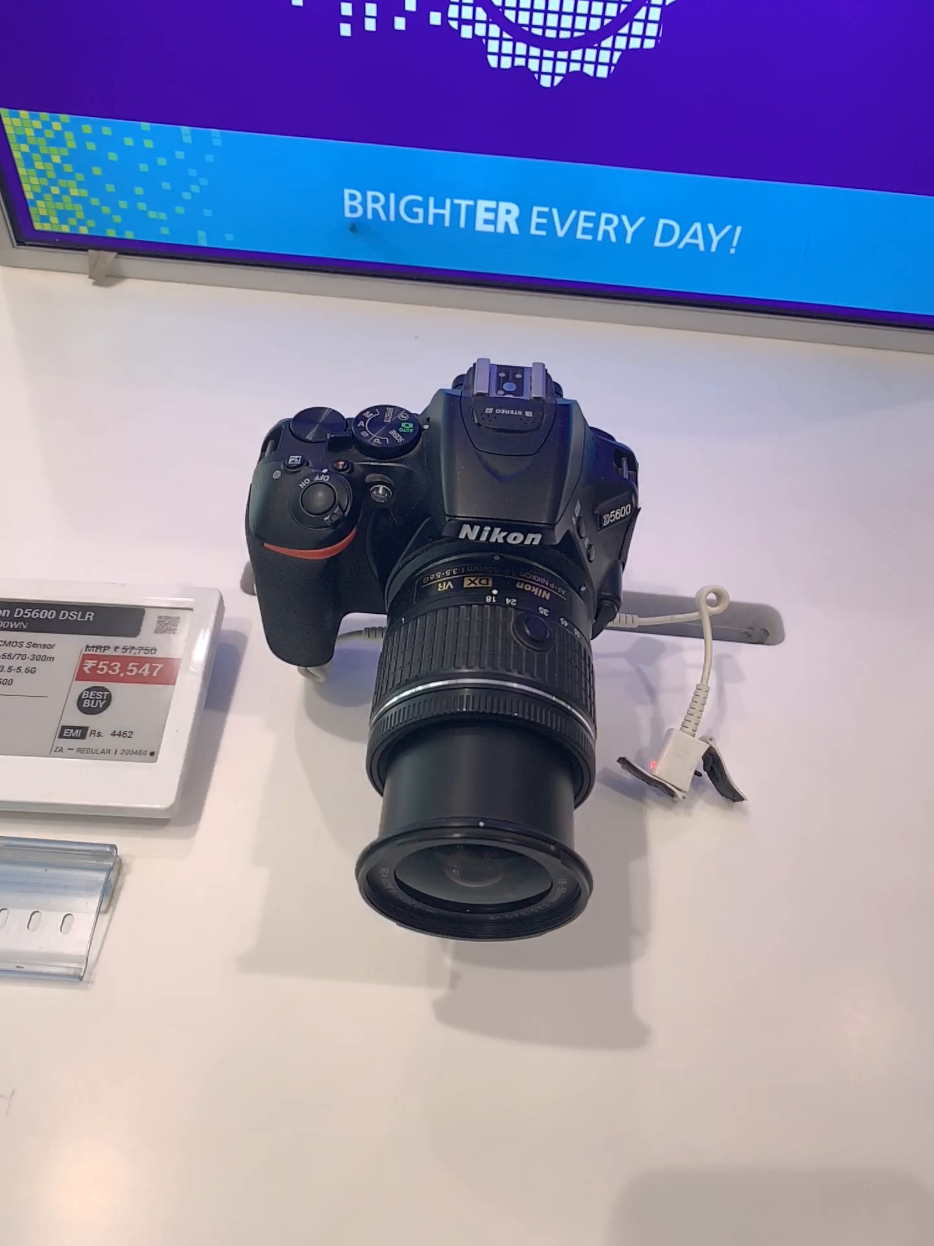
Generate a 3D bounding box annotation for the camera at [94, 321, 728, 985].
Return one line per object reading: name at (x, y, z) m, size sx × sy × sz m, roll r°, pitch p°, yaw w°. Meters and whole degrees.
camera at (-0.009, 0.005, 0.260) m, size 0.116 × 0.100 × 0.141 m, roll 4°, pitch 49°, yaw 0°
